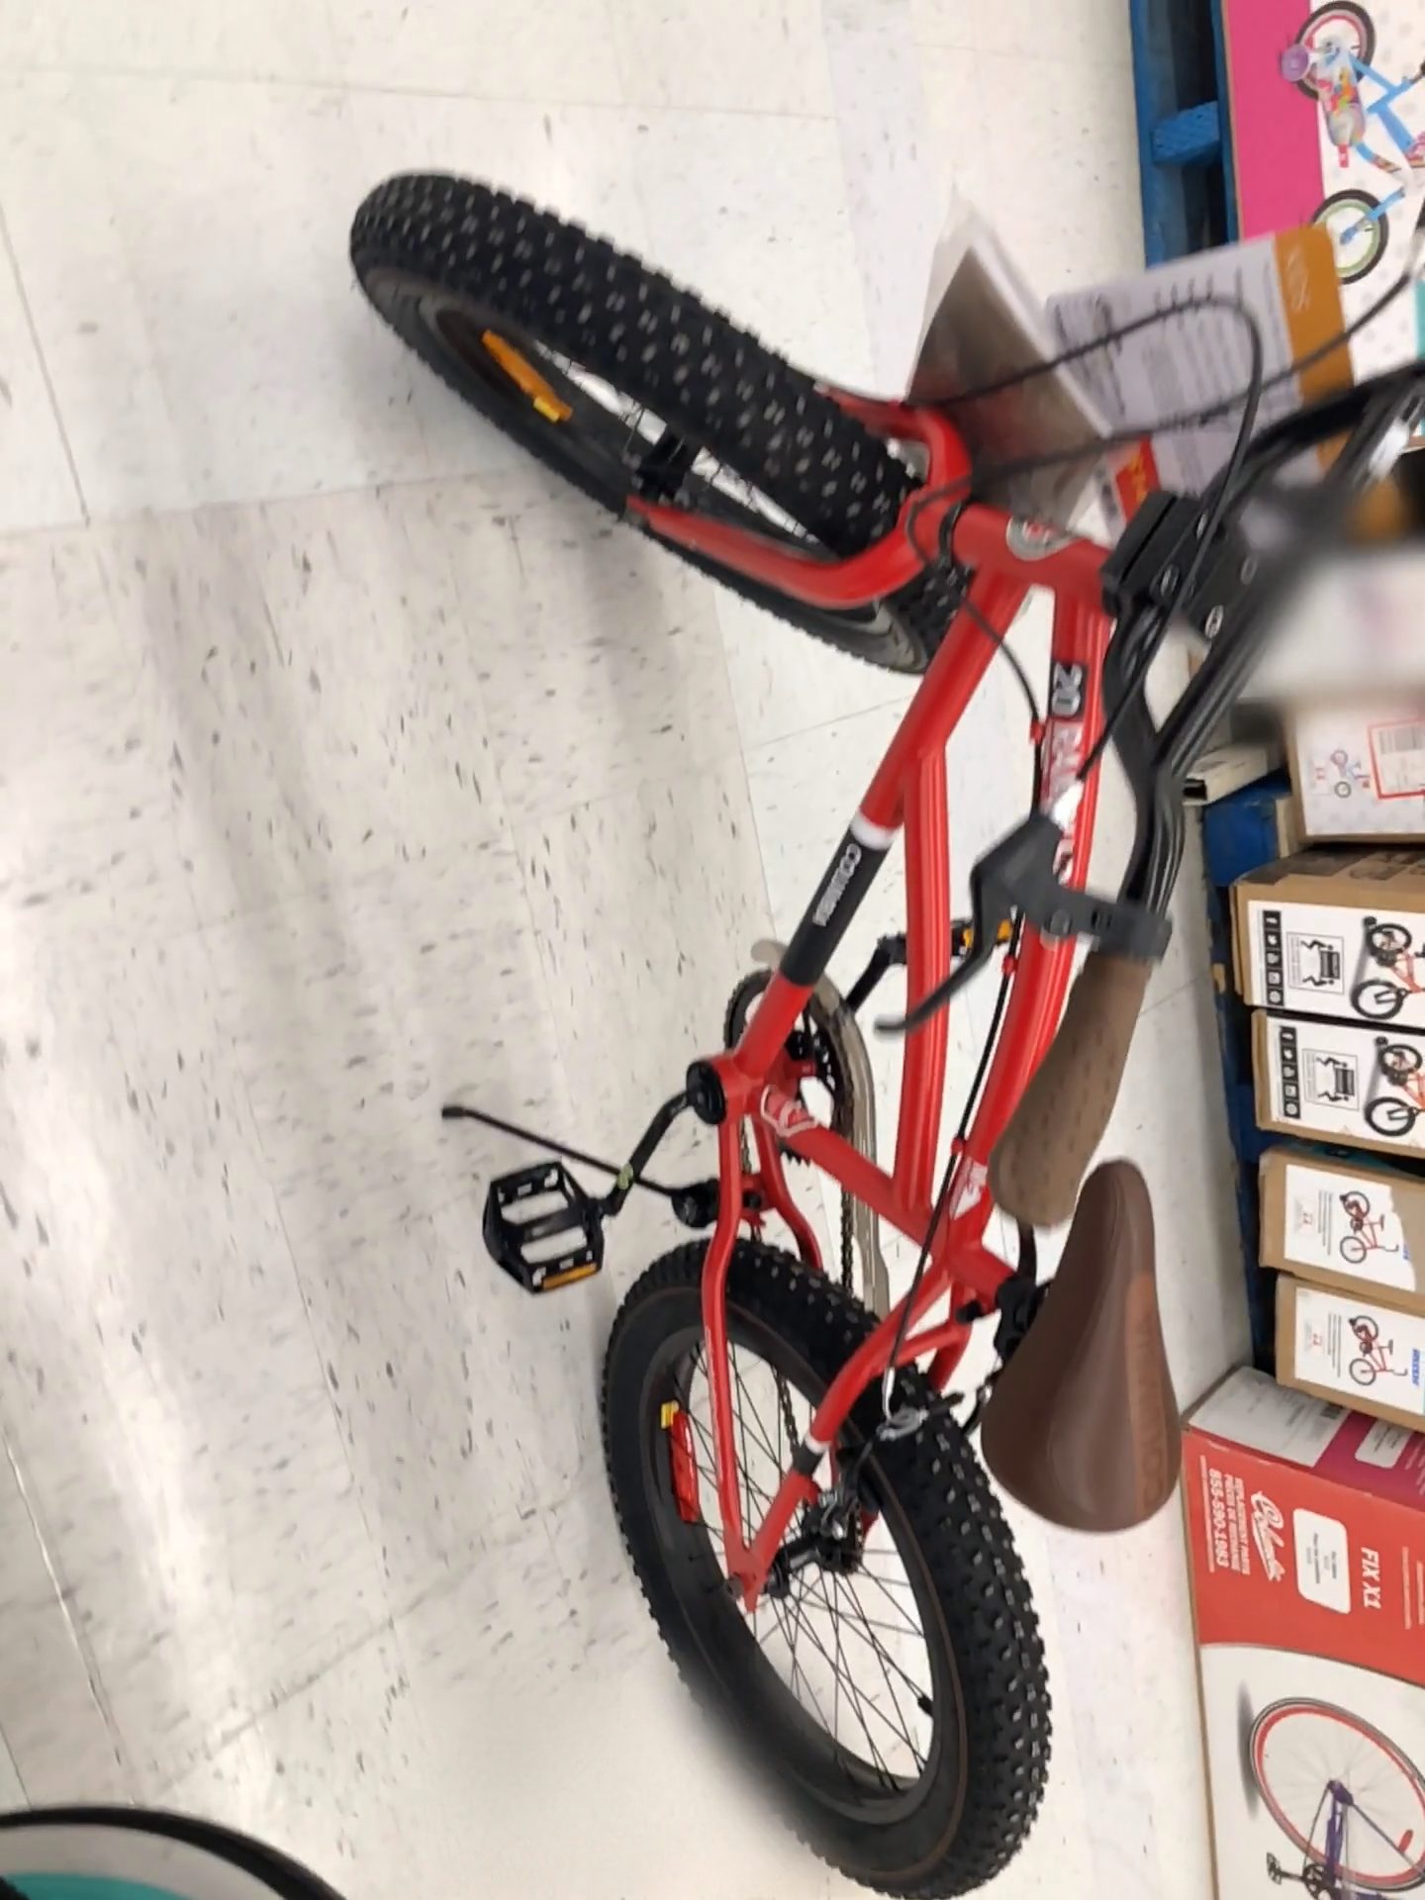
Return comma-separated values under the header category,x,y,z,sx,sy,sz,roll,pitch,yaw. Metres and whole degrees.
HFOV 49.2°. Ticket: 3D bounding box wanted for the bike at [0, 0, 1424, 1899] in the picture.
category,x,y,z,sx,sy,sz,roll,pitch,yaw
bike,0.072,0.145,1.105,0.610,0.968,1.357,-24,107,-41
